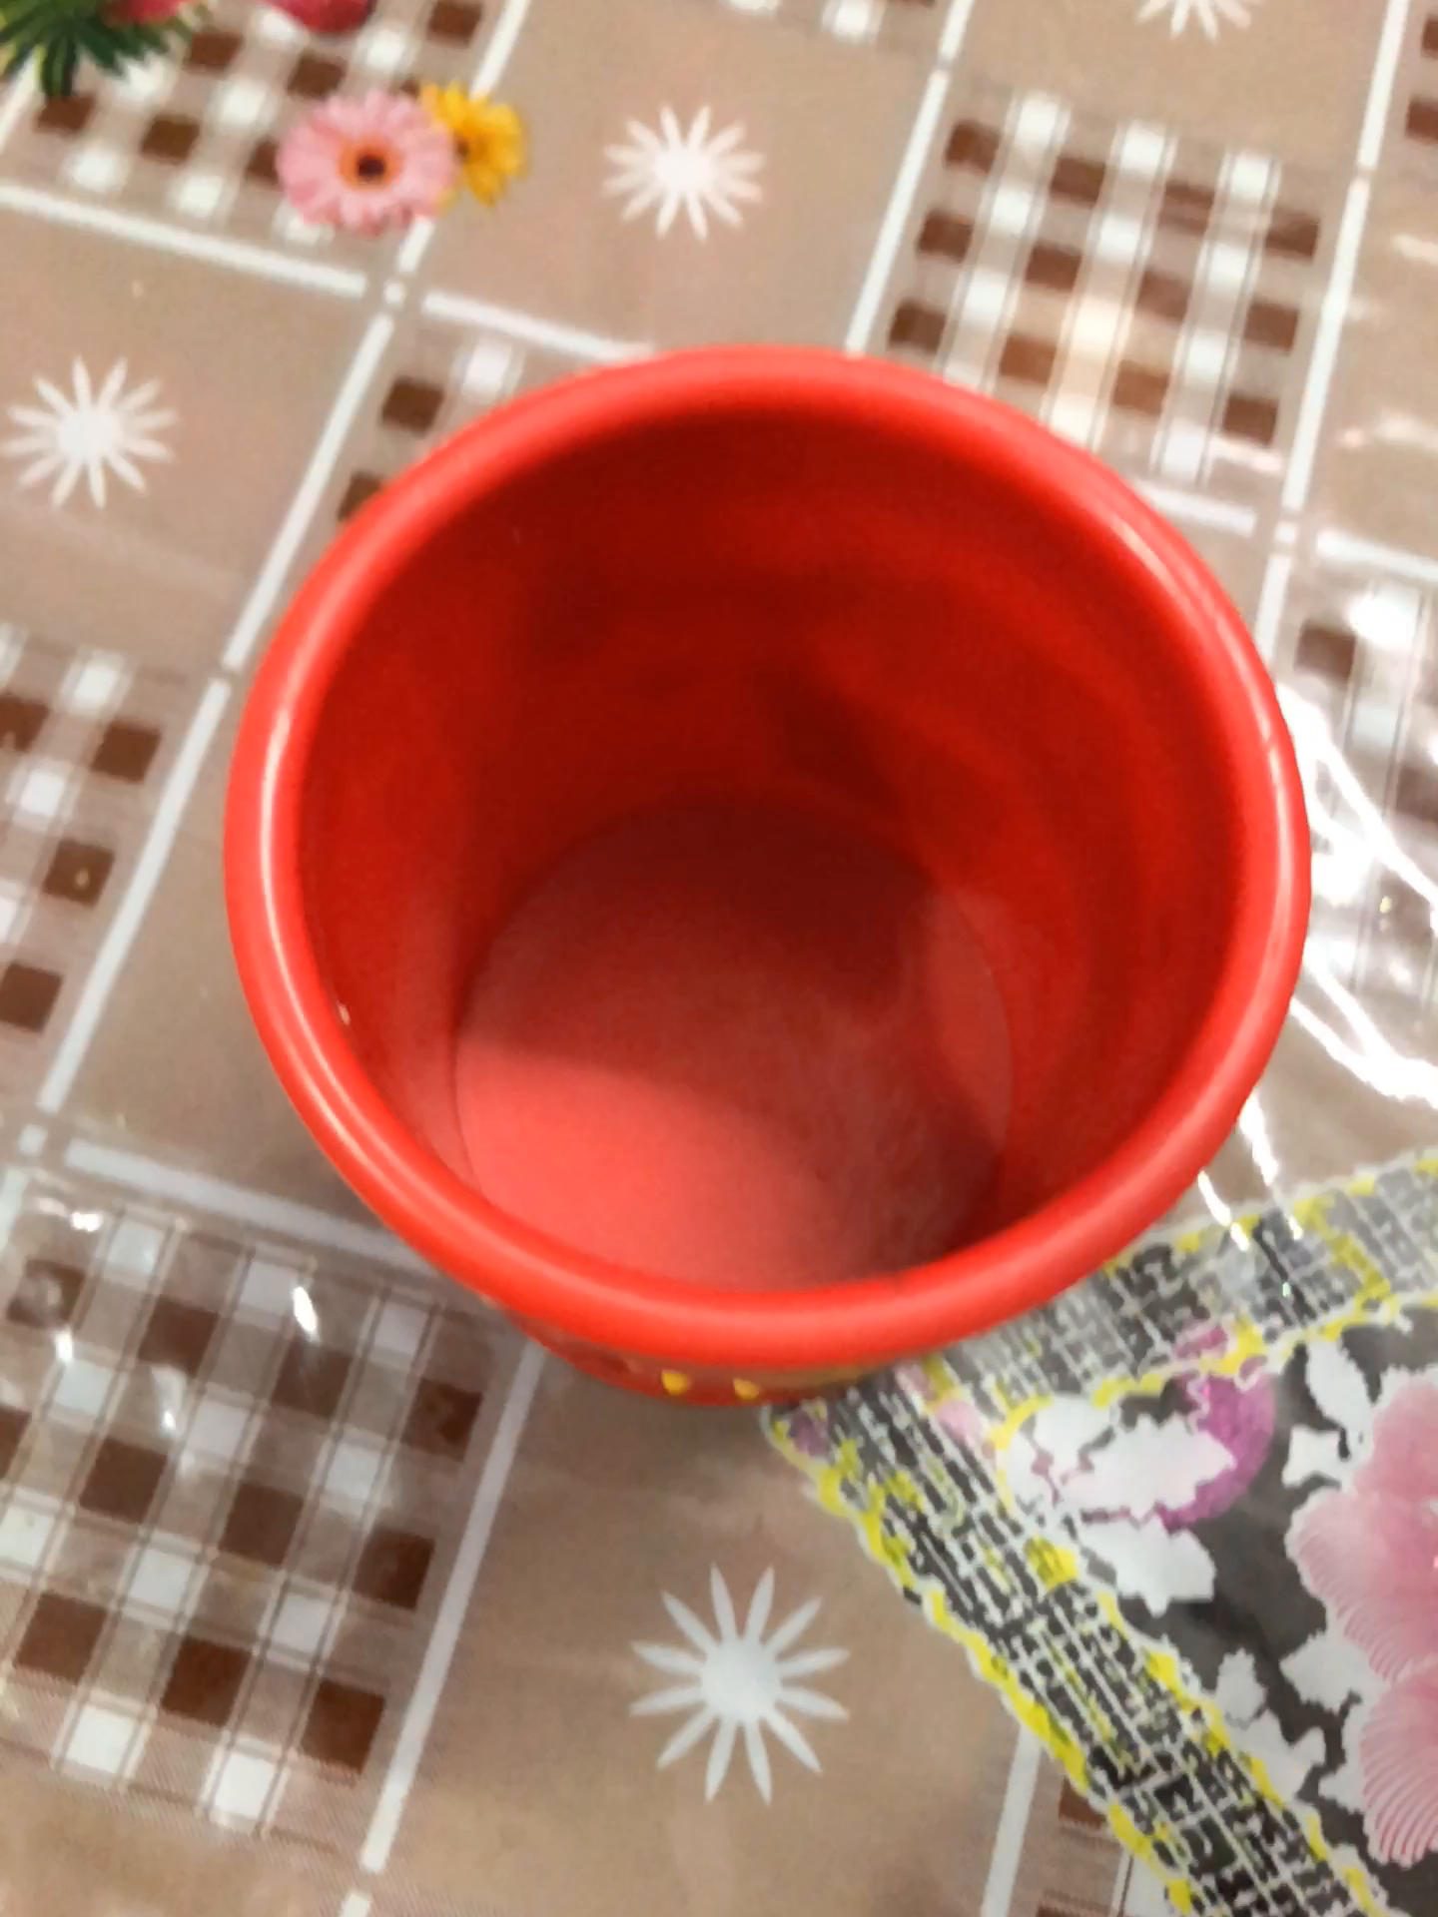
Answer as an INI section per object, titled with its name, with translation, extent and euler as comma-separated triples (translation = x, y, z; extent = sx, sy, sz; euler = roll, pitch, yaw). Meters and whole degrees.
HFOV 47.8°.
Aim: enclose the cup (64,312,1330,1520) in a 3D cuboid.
[cup]
translation = 0.001, 0.007, 0.163
extent = 0.080, 0.100, 0.080
euler = 1, 73, -2
